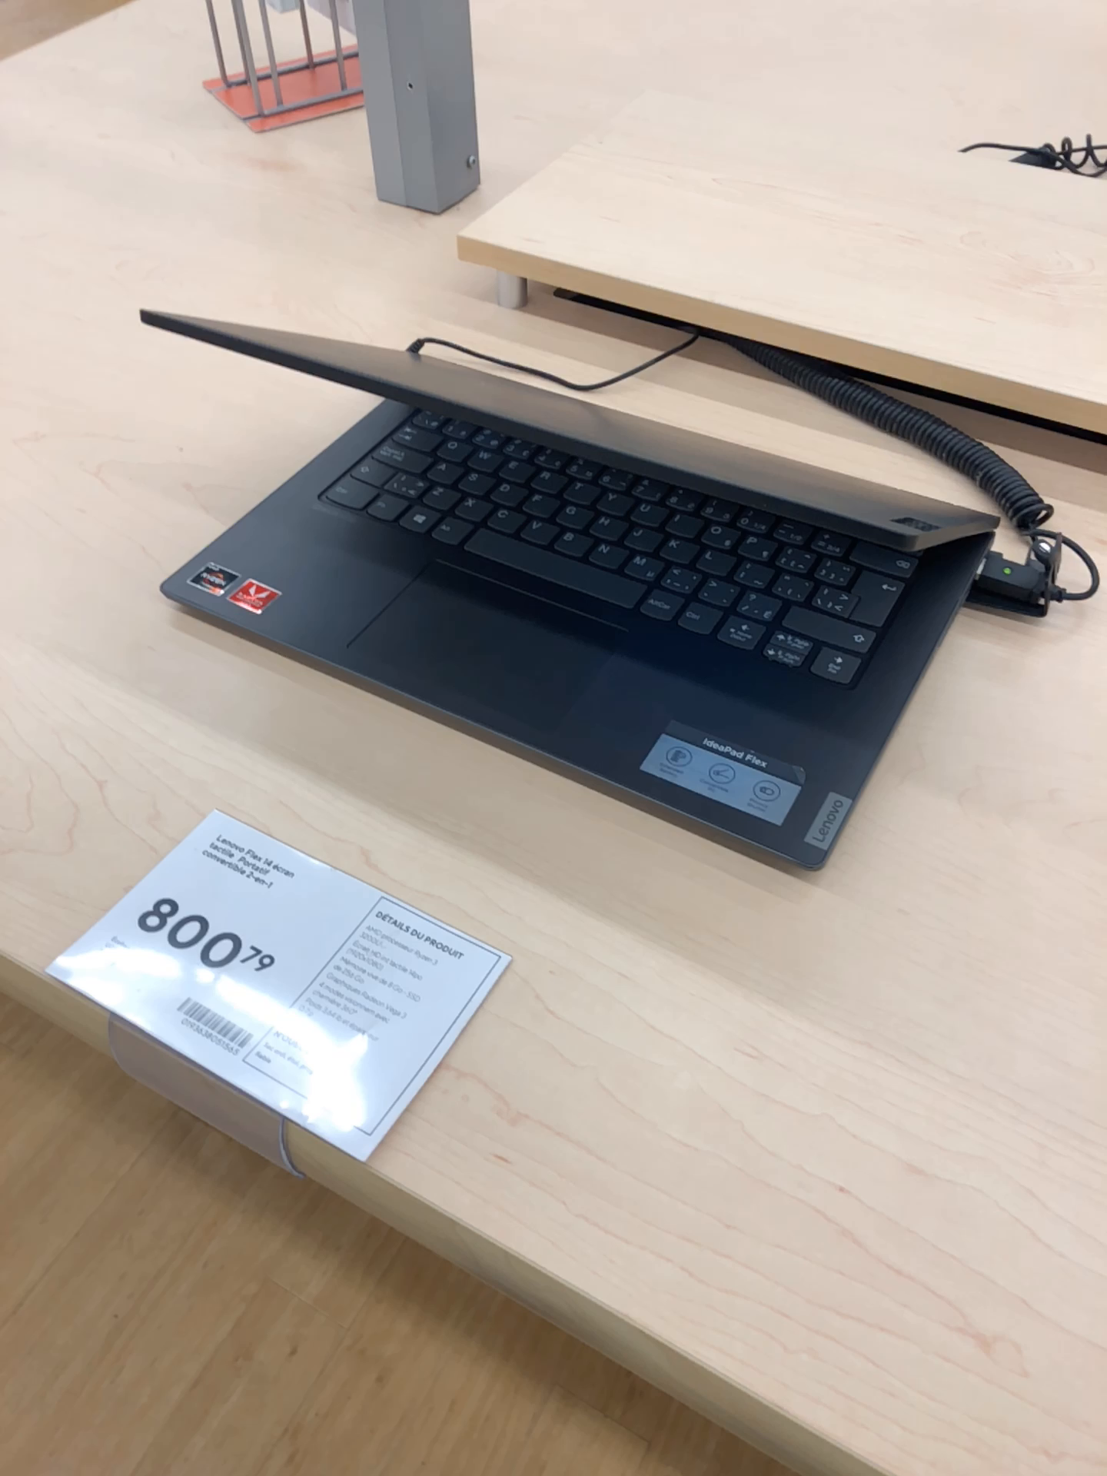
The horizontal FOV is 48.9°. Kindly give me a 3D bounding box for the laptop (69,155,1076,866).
[{"bbox_3d":[0.012,-0.124,0.534,0.332,0.121,0.229,22,51,21],"label":"laptop"}]
